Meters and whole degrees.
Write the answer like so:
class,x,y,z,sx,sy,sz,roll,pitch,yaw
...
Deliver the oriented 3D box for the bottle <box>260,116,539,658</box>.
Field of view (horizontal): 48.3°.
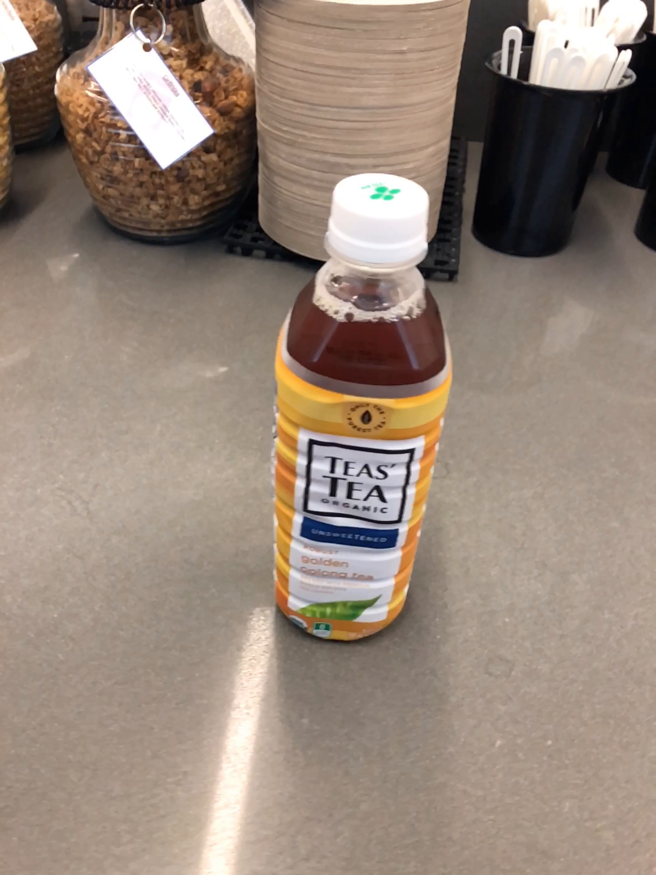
class,x,y,z,sx,sy,sz,roll,pitch,yaw
bottle,0.013,-0.004,0.275,0.070,0.199,0.070,2,42,-2
